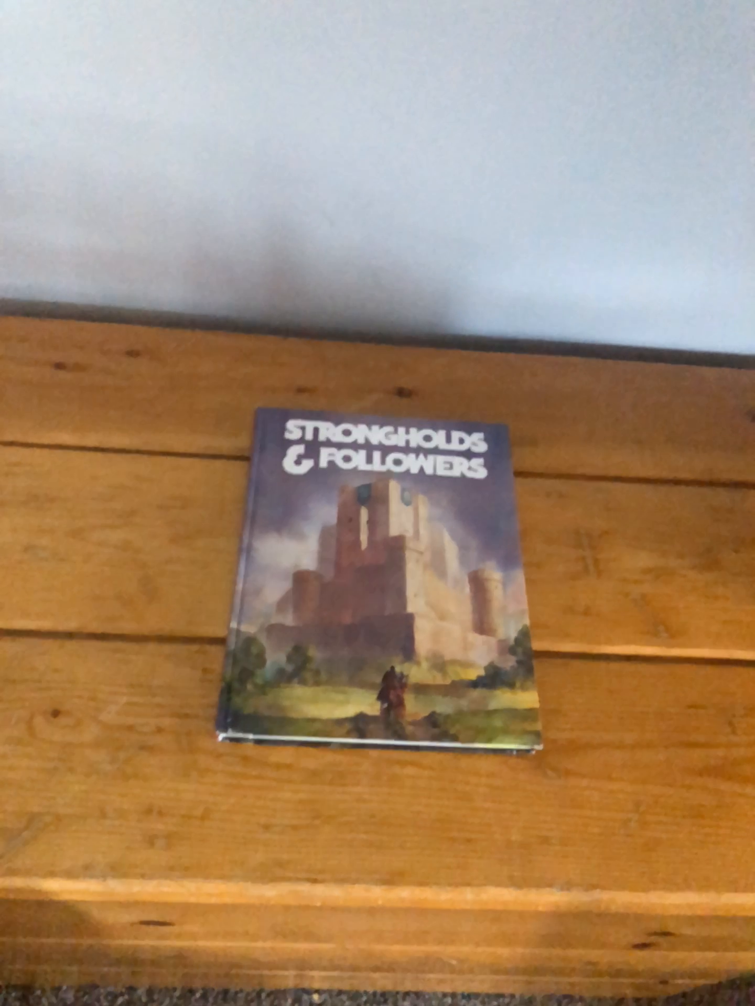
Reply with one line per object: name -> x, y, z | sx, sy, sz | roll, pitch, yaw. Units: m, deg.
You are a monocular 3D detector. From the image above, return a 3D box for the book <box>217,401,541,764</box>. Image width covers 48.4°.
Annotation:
book -> 0.003, 0.049, 0.645 | 0.212, 0.042, 0.281 | 4, 55, -4
